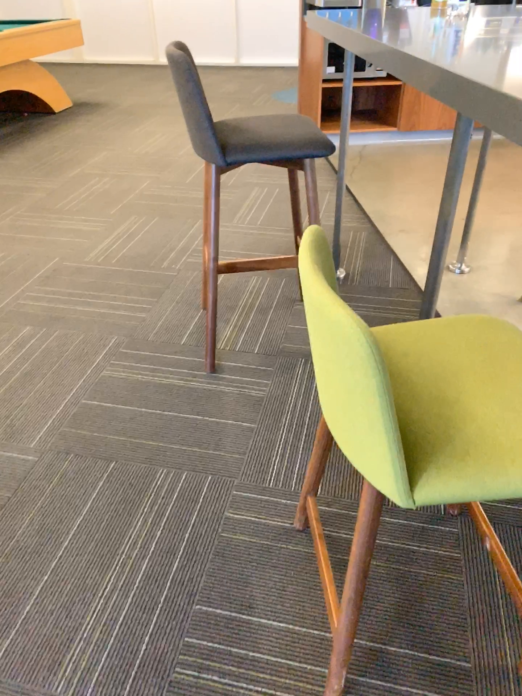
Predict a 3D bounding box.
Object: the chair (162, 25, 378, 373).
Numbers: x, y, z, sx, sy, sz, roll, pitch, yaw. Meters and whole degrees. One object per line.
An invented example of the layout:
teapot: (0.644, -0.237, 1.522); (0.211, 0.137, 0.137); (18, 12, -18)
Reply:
chair: (-0.007, -0.521, 1.858); (0.540, 0.974, 0.644); (-5, 36, -6)

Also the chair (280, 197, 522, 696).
chair: (0.301, 0.221, 0.963); (0.480, 0.825, 0.443); (-4, 36, -4)
